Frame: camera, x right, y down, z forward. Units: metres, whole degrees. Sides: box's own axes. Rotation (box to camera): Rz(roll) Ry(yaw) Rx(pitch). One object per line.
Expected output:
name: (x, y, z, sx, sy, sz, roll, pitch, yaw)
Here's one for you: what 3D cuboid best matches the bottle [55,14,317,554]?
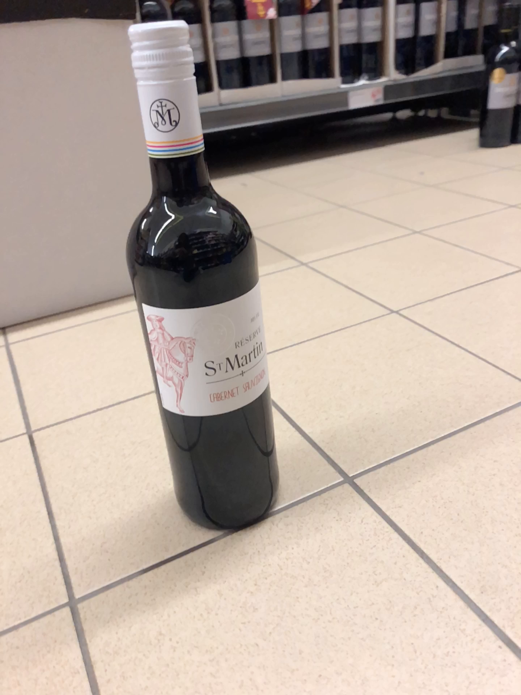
bottle: (-0.032, -0.026, 0.343, 0.090, 0.288, 0.080, -19, 30, -23)
